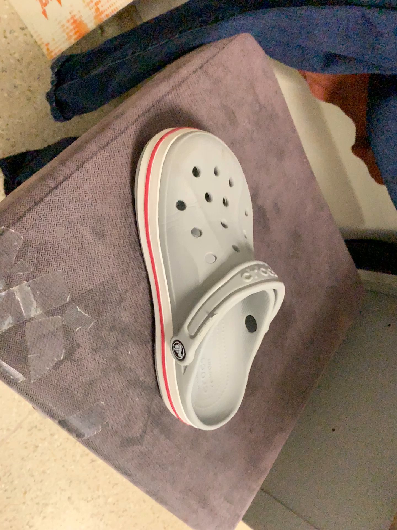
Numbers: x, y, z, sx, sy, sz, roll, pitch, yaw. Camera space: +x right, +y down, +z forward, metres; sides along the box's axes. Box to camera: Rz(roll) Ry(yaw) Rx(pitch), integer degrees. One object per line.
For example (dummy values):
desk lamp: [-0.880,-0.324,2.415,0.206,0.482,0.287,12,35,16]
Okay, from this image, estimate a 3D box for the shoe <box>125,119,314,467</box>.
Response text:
shoe: [0.025,0.013,0.336,0.120,0.075,0.238,-14,105,-38]
